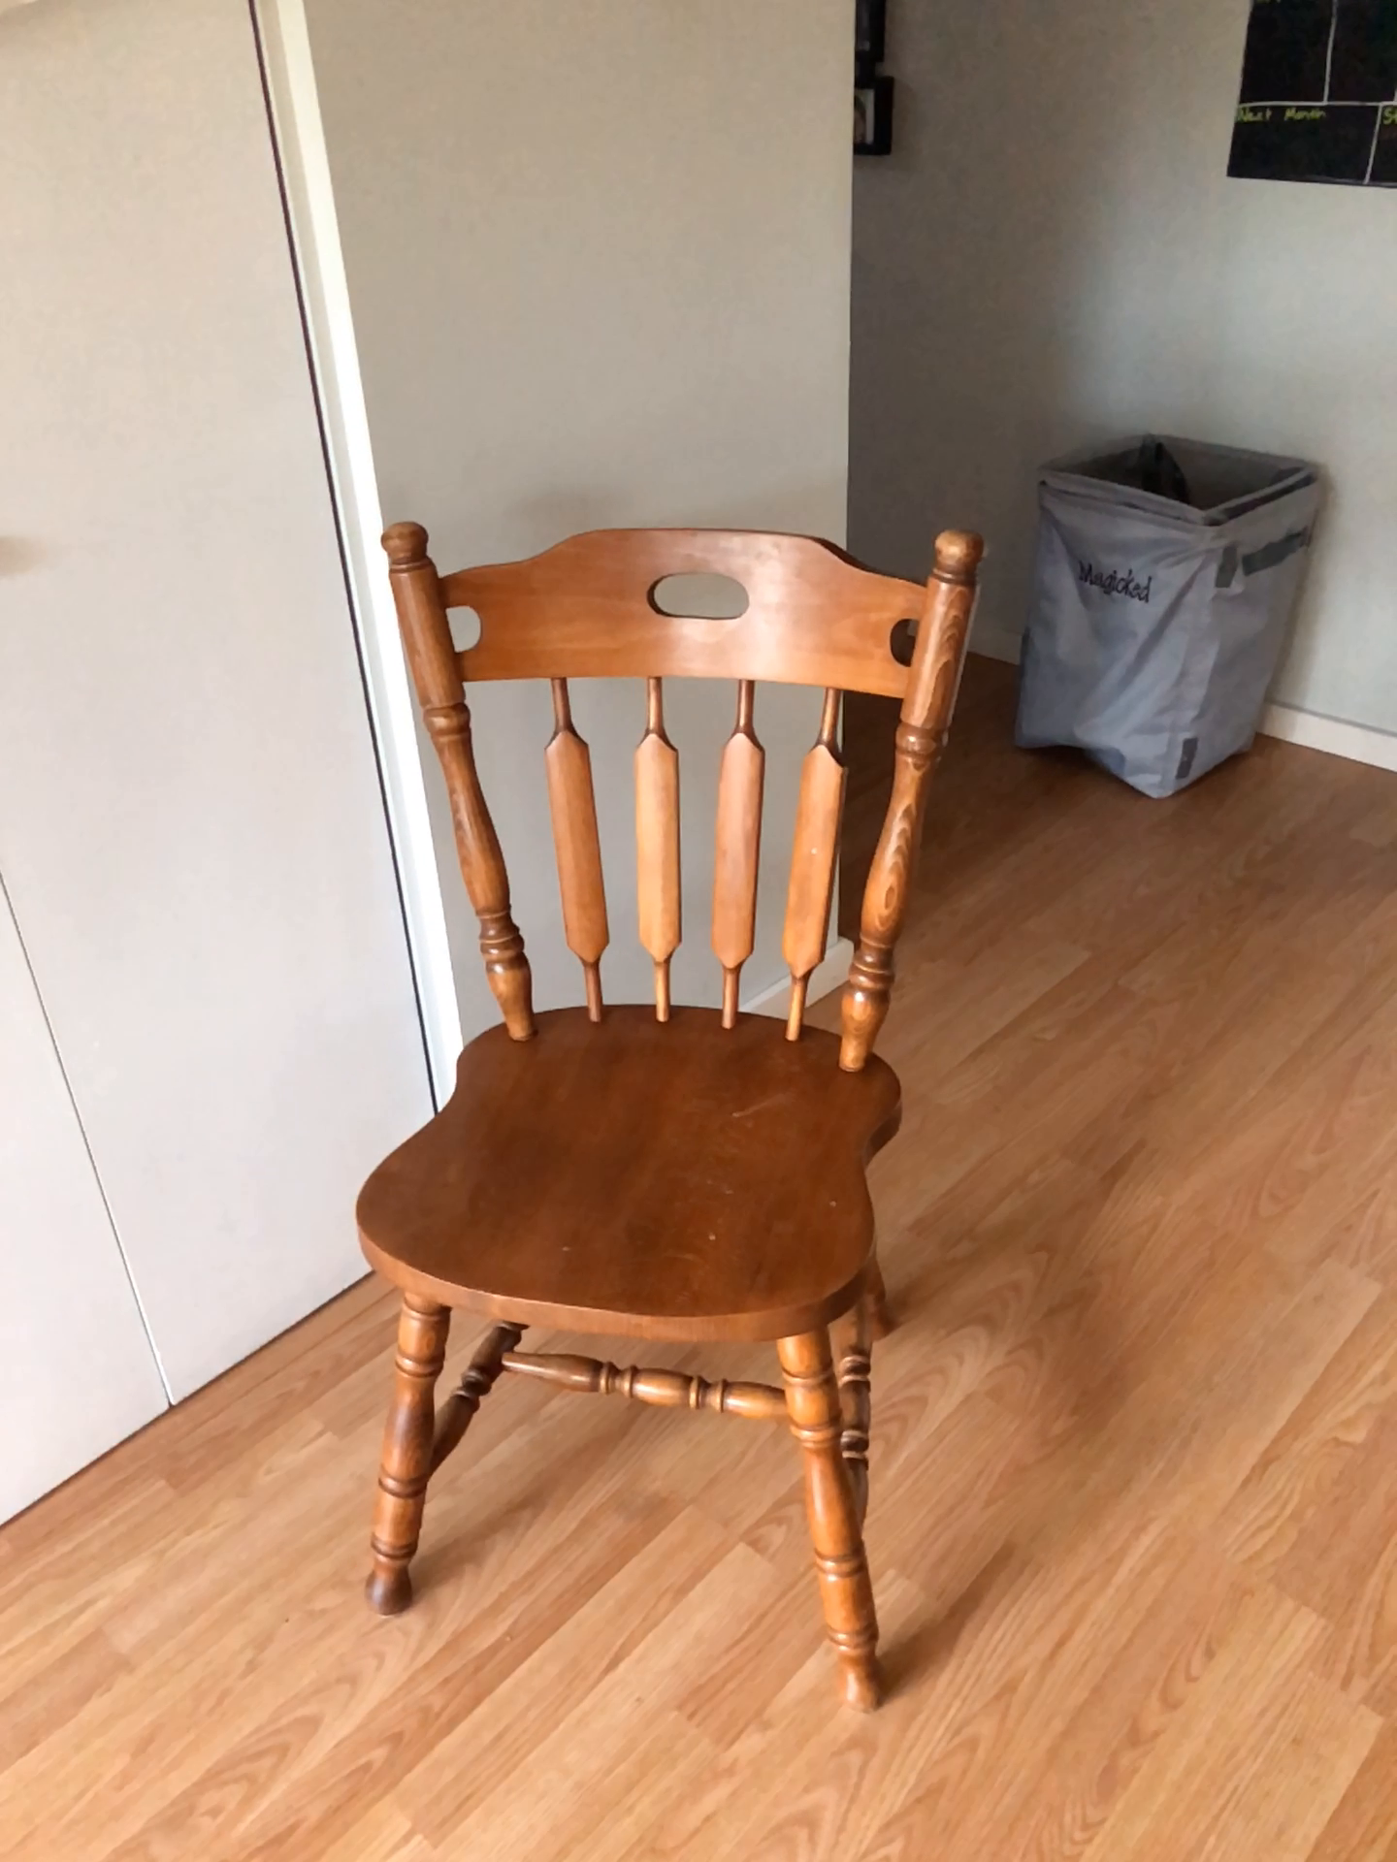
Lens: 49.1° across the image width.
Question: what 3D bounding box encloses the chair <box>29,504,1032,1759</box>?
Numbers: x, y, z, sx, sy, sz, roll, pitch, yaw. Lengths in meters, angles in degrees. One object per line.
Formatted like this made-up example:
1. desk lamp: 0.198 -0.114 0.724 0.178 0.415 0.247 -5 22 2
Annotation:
1. chair: -0.048 0.139 1.314 0.560 0.817 0.592 6 33 12
